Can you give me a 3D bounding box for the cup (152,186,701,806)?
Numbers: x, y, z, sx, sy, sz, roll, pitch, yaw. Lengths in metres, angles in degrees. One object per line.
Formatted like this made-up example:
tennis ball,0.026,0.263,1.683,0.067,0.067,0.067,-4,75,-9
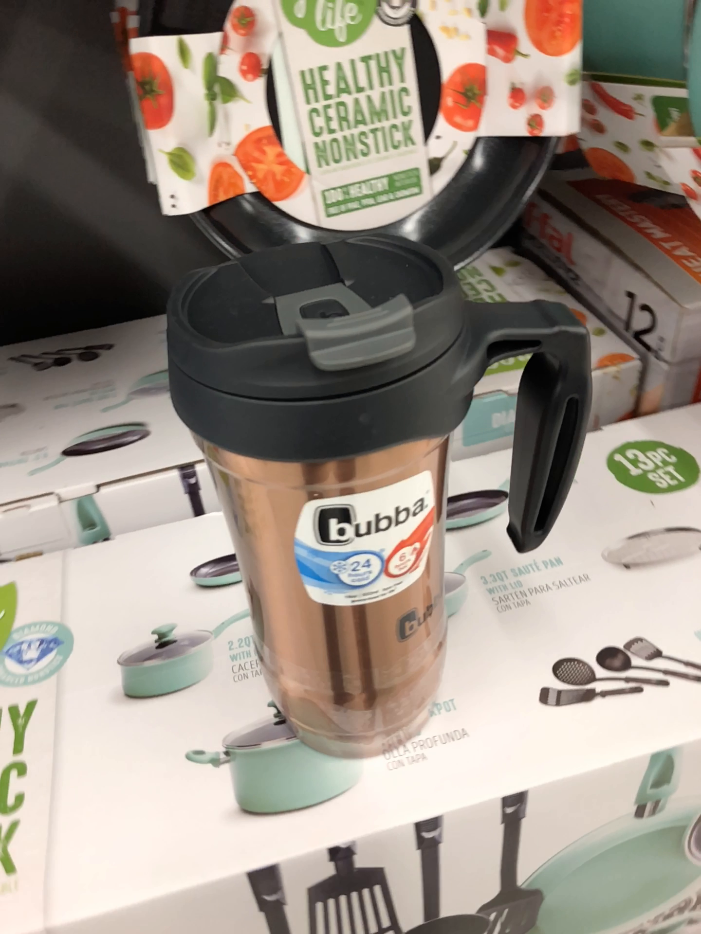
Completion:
cup,0.023,0.015,0.283,0.143,0.182,0.094,-12,39,-8
